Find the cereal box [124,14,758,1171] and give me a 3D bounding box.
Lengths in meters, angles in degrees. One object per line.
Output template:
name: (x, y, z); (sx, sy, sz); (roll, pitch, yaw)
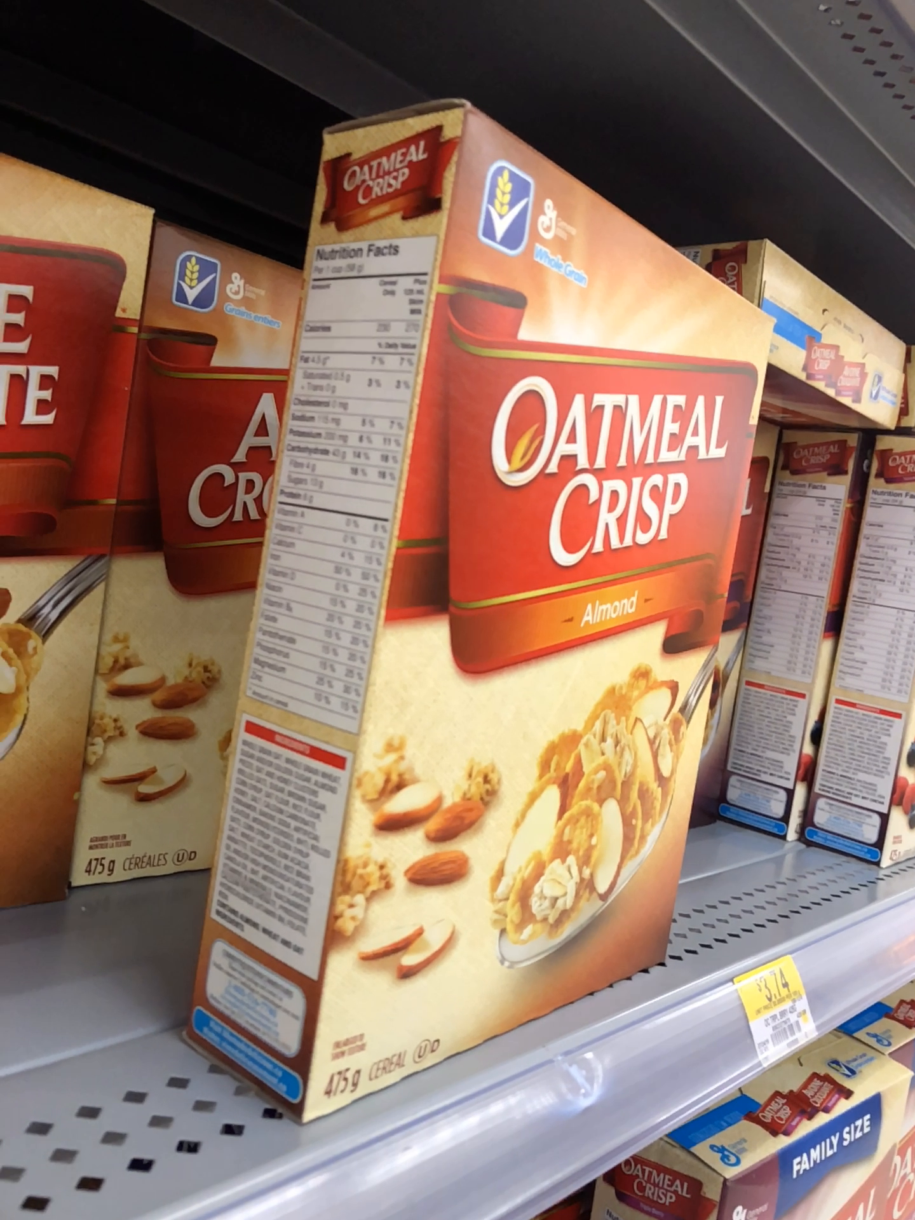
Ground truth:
cereal box: (0.014, 0.000, 0.338); (0.050, 0.280, 0.210); (11, 3, 38)
